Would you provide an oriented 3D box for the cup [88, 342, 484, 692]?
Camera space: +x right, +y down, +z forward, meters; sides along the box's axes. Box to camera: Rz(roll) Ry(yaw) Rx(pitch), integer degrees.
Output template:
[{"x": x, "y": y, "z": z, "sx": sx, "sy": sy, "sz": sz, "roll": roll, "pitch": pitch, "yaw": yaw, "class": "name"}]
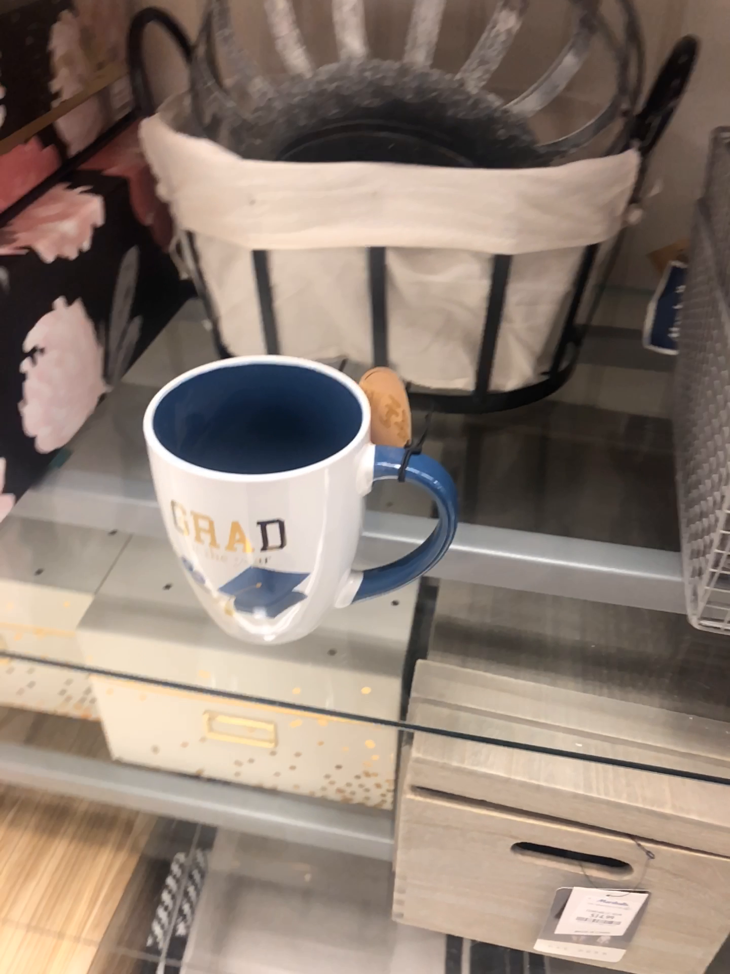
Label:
[{"x": -0.029, "y": 0.008, "z": 0.395, "sx": 0.150, "sy": 0.096, "sz": 0.116, "roll": 9, "pitch": 39, "yaw": 10, "class": "cup"}]
